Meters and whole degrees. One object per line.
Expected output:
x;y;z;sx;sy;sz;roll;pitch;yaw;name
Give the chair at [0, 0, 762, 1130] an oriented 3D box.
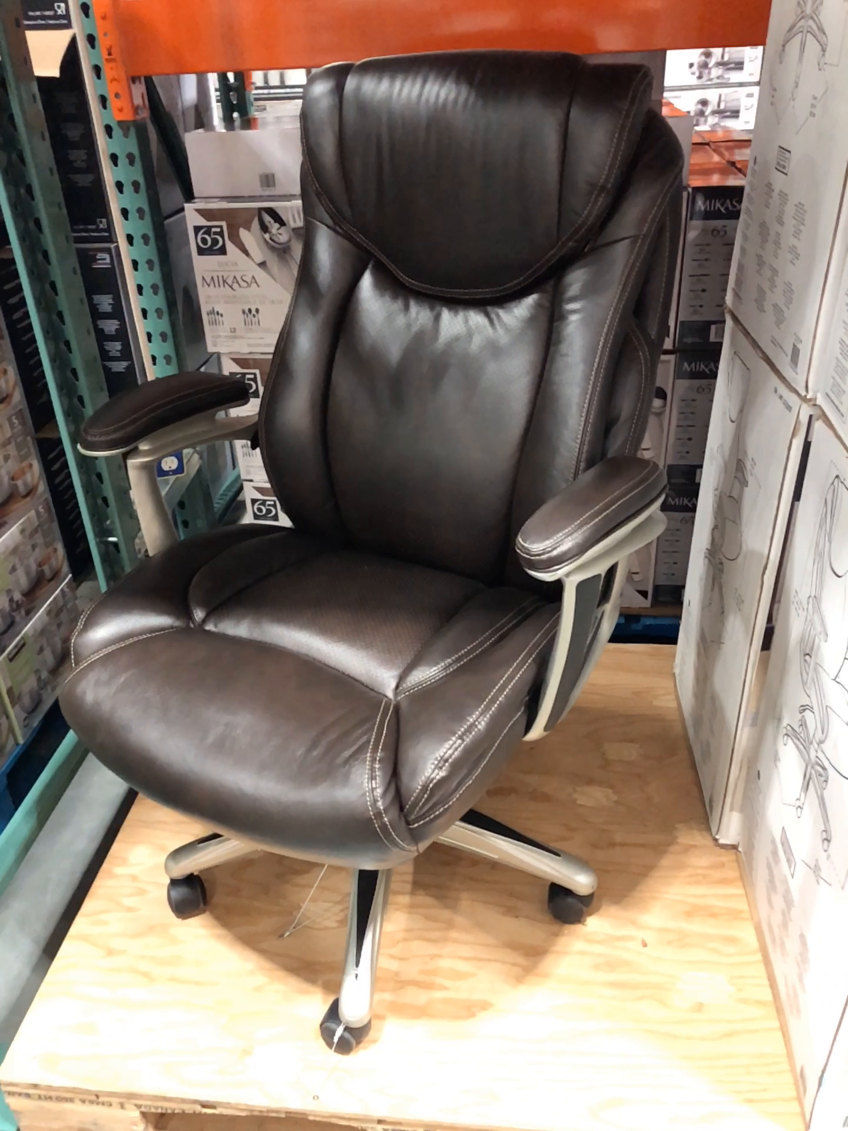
-0.049;-0.076;1.163;0.661;1.095;0.722;11;33;23;chair
